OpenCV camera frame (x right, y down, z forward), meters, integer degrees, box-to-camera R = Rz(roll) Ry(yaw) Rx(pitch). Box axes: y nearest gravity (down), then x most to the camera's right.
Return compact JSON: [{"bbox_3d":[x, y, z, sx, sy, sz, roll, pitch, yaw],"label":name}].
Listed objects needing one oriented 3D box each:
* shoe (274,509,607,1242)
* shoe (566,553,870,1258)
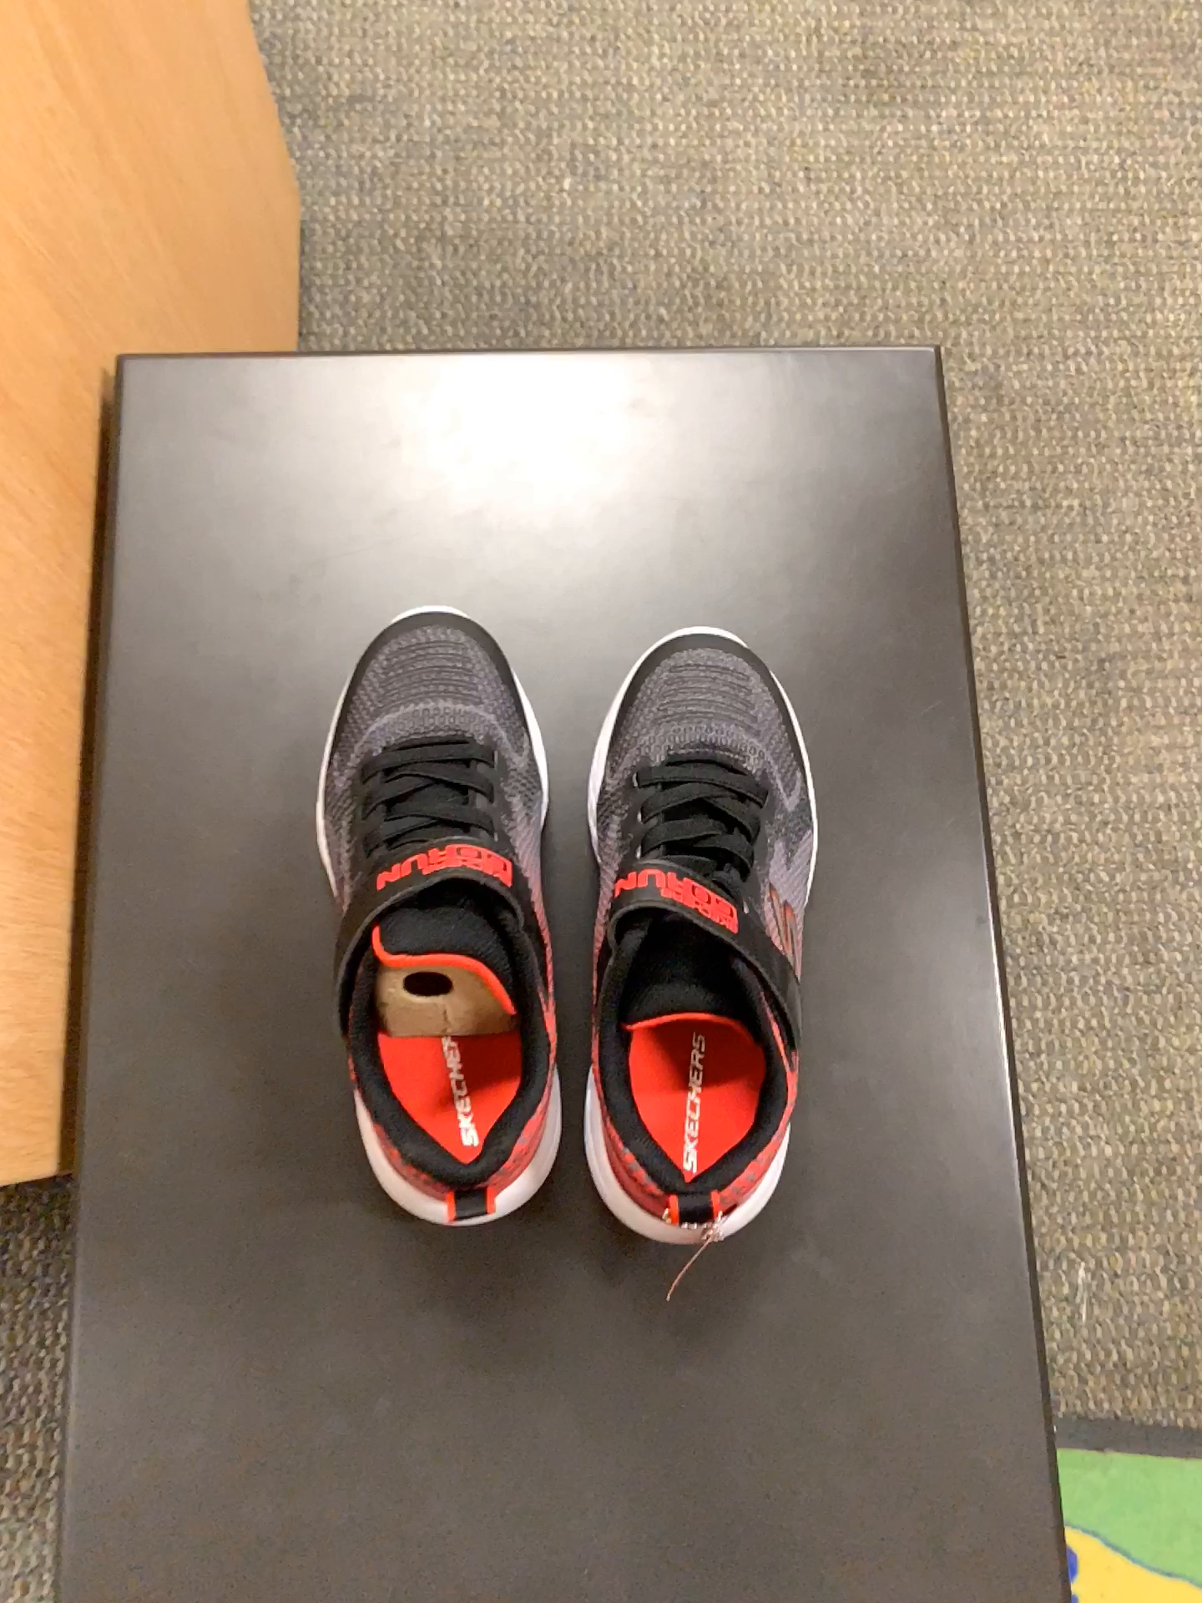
[{"bbox_3d":[-0.058,0.025,0.454,0.090,0.080,0.240,-6,78,-3],"label":"shoe"},{"bbox_3d":[0.041,0.037,0.464,0.098,0.080,0.240,2,78,-1],"label":"shoe"}]
